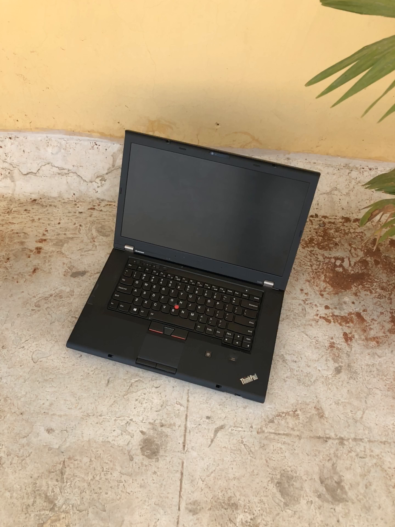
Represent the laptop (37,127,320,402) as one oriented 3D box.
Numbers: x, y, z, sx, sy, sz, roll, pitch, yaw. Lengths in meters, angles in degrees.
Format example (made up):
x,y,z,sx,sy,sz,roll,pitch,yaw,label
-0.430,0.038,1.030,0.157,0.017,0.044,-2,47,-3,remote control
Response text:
x,y,z,sx,sy,sz,roll,pitch,yaw,label
-0.011,-0.009,0.774,0.360,0.208,0.353,14,56,7,laptop
